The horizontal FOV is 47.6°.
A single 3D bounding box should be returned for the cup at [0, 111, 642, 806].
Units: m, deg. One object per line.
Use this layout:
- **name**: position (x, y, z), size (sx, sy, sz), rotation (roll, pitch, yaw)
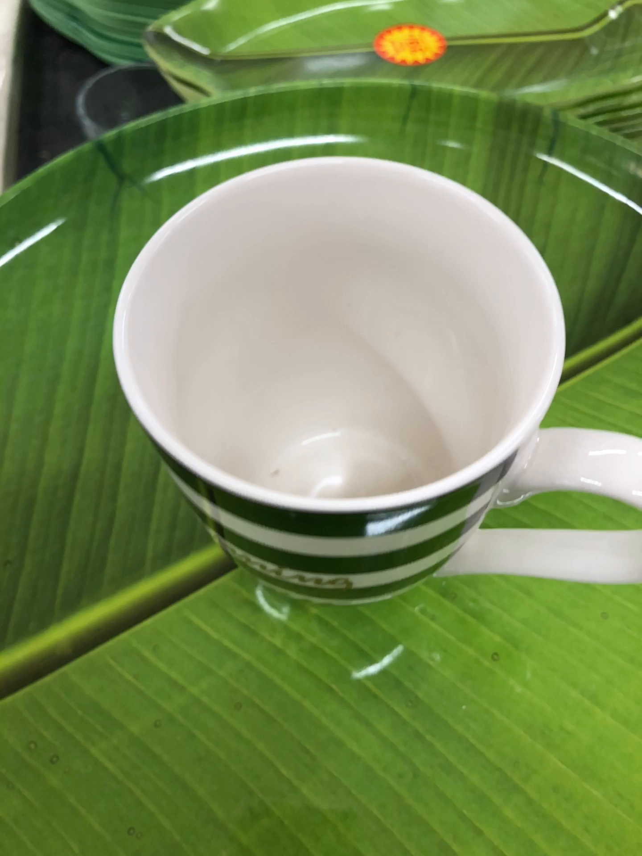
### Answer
- **cup**: position (0.019, 0.006, 0.156), size (0.130, 0.080, 0.080), rotation (21, 60, 13)
